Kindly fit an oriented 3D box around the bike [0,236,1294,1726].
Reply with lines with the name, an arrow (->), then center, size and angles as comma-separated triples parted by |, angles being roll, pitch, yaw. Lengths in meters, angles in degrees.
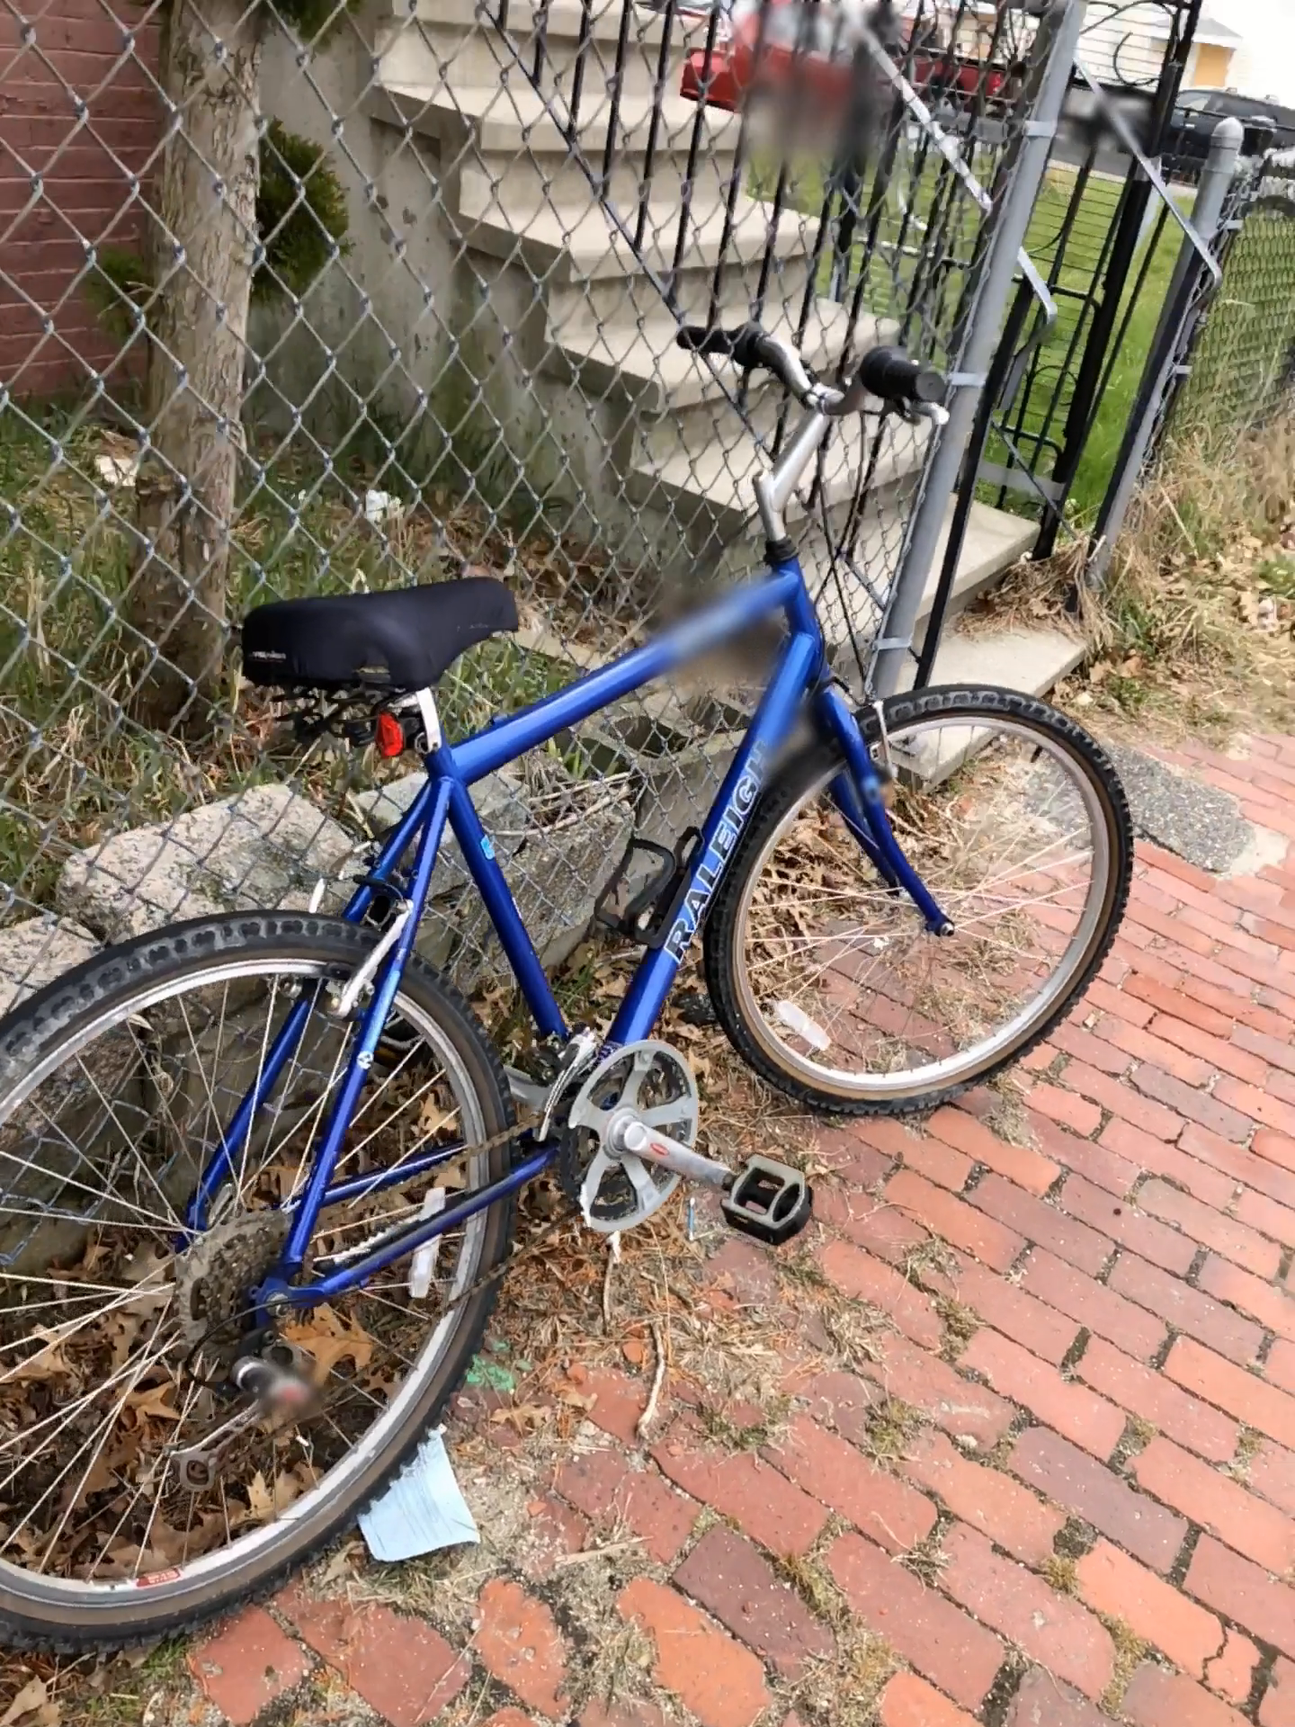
bike -> -0.058, -0.045, 1.510 | 1.670, 1.024, 0.681 | -20, 39, -37
